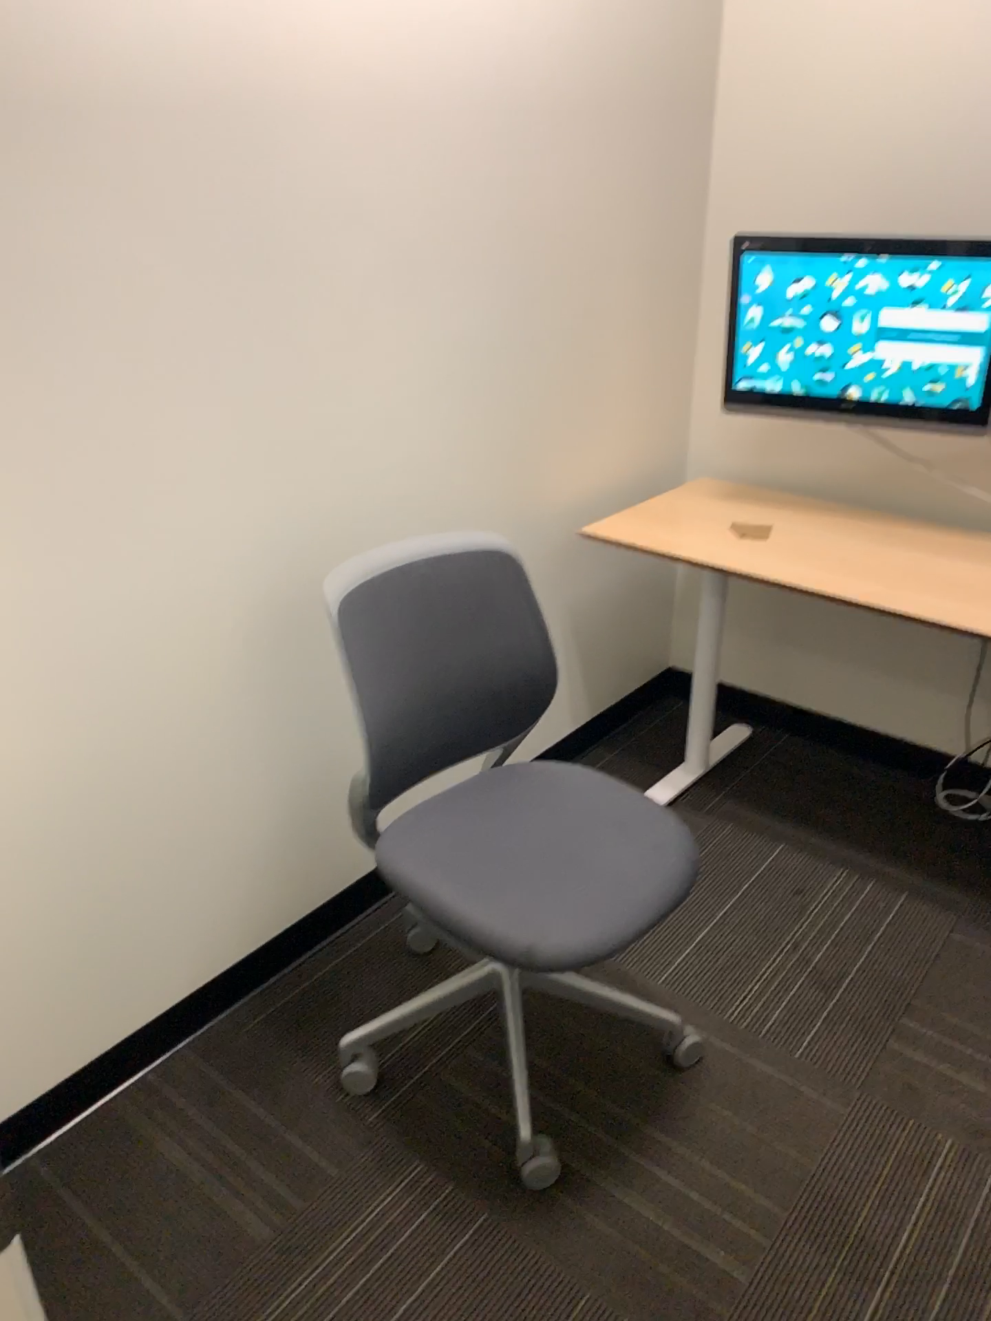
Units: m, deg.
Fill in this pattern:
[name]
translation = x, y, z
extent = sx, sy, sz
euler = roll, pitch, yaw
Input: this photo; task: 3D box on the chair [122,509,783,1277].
[chair]
translation = -0.102, 0.315, 1.912
extent = 0.721, 0.885, 0.904
euler = -21, 32, -37
